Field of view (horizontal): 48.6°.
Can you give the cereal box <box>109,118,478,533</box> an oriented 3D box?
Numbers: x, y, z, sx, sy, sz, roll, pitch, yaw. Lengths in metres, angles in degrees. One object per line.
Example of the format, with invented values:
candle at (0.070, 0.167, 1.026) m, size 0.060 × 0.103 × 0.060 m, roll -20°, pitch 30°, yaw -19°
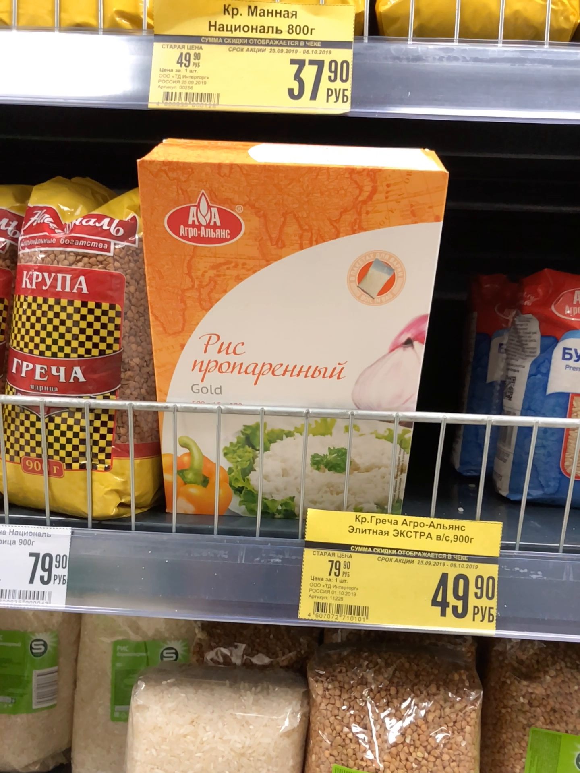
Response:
cereal box at (-0.001, -0.024, 0.316) m, size 0.140 × 0.189 × 0.060 m, roll 2°, pitch 30°, yaw 0°
